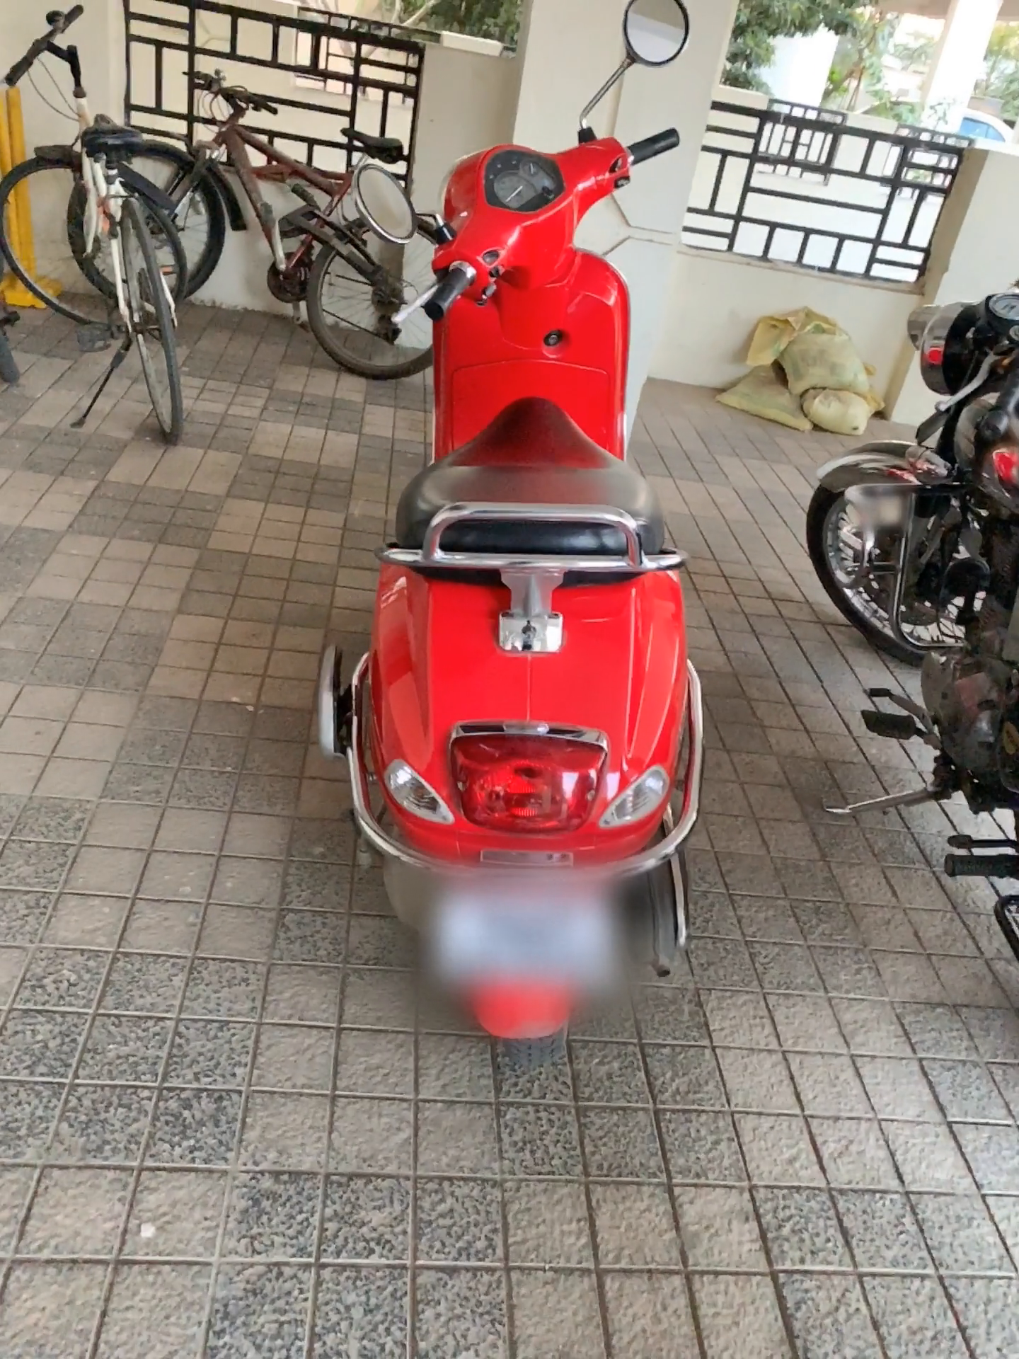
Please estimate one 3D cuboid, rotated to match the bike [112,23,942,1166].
[{"bbox_3d":[-0.194,-0.299,1.799,0.681,1.262,1.555,4,33,-12],"label":"bike"}]
